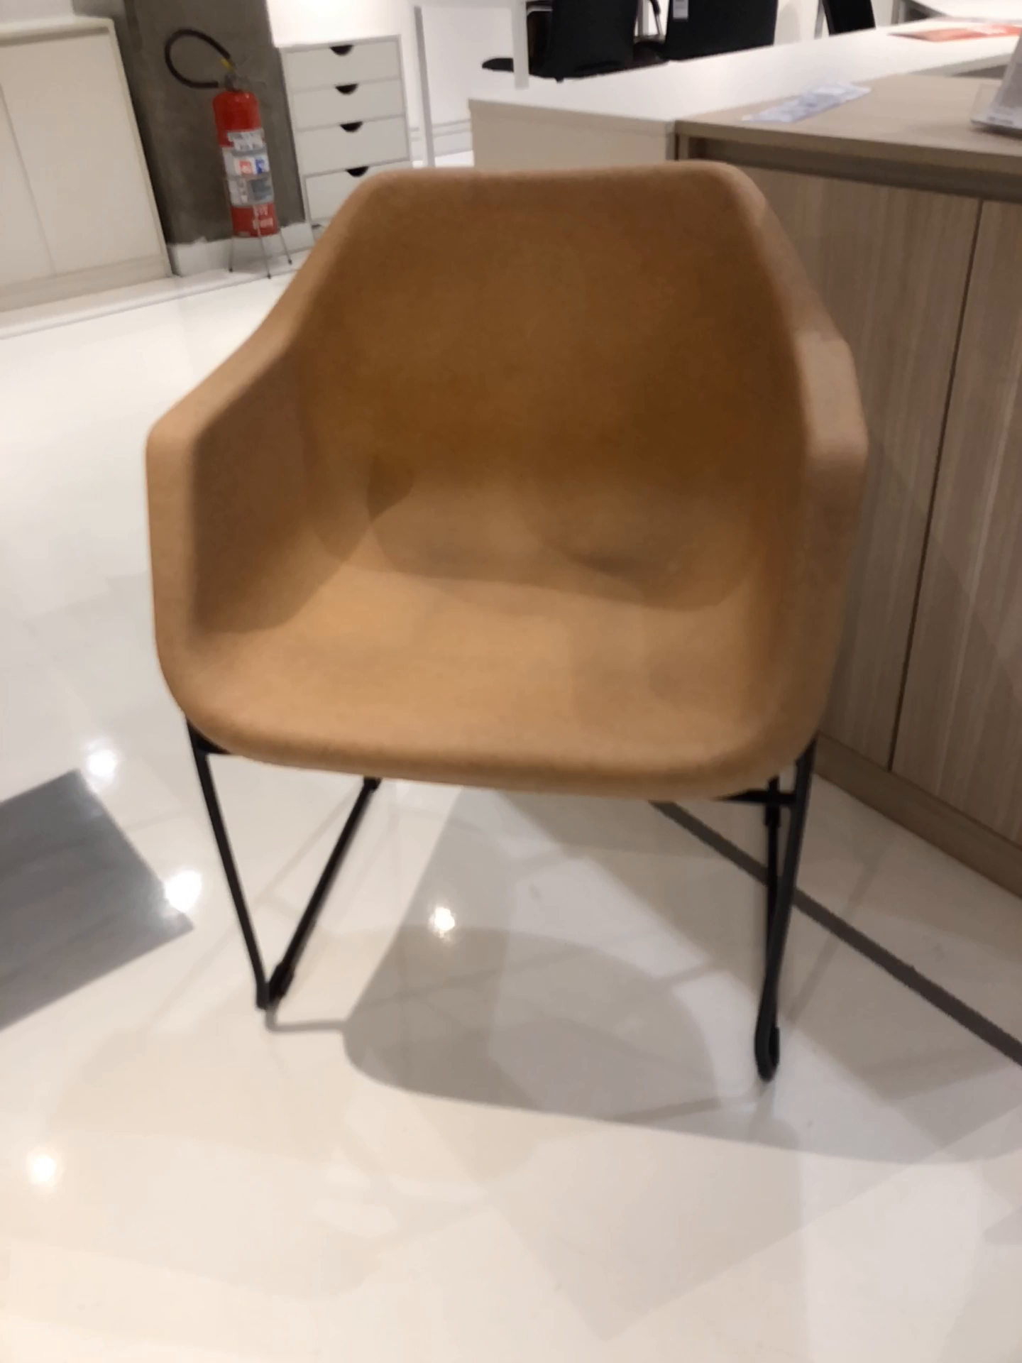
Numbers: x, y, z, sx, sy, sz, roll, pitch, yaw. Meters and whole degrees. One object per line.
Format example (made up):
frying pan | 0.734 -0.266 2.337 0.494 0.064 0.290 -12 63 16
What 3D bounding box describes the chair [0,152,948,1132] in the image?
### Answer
chair | 0.019 -0.069 1.073 0.590 0.704 0.574 3 34 11
